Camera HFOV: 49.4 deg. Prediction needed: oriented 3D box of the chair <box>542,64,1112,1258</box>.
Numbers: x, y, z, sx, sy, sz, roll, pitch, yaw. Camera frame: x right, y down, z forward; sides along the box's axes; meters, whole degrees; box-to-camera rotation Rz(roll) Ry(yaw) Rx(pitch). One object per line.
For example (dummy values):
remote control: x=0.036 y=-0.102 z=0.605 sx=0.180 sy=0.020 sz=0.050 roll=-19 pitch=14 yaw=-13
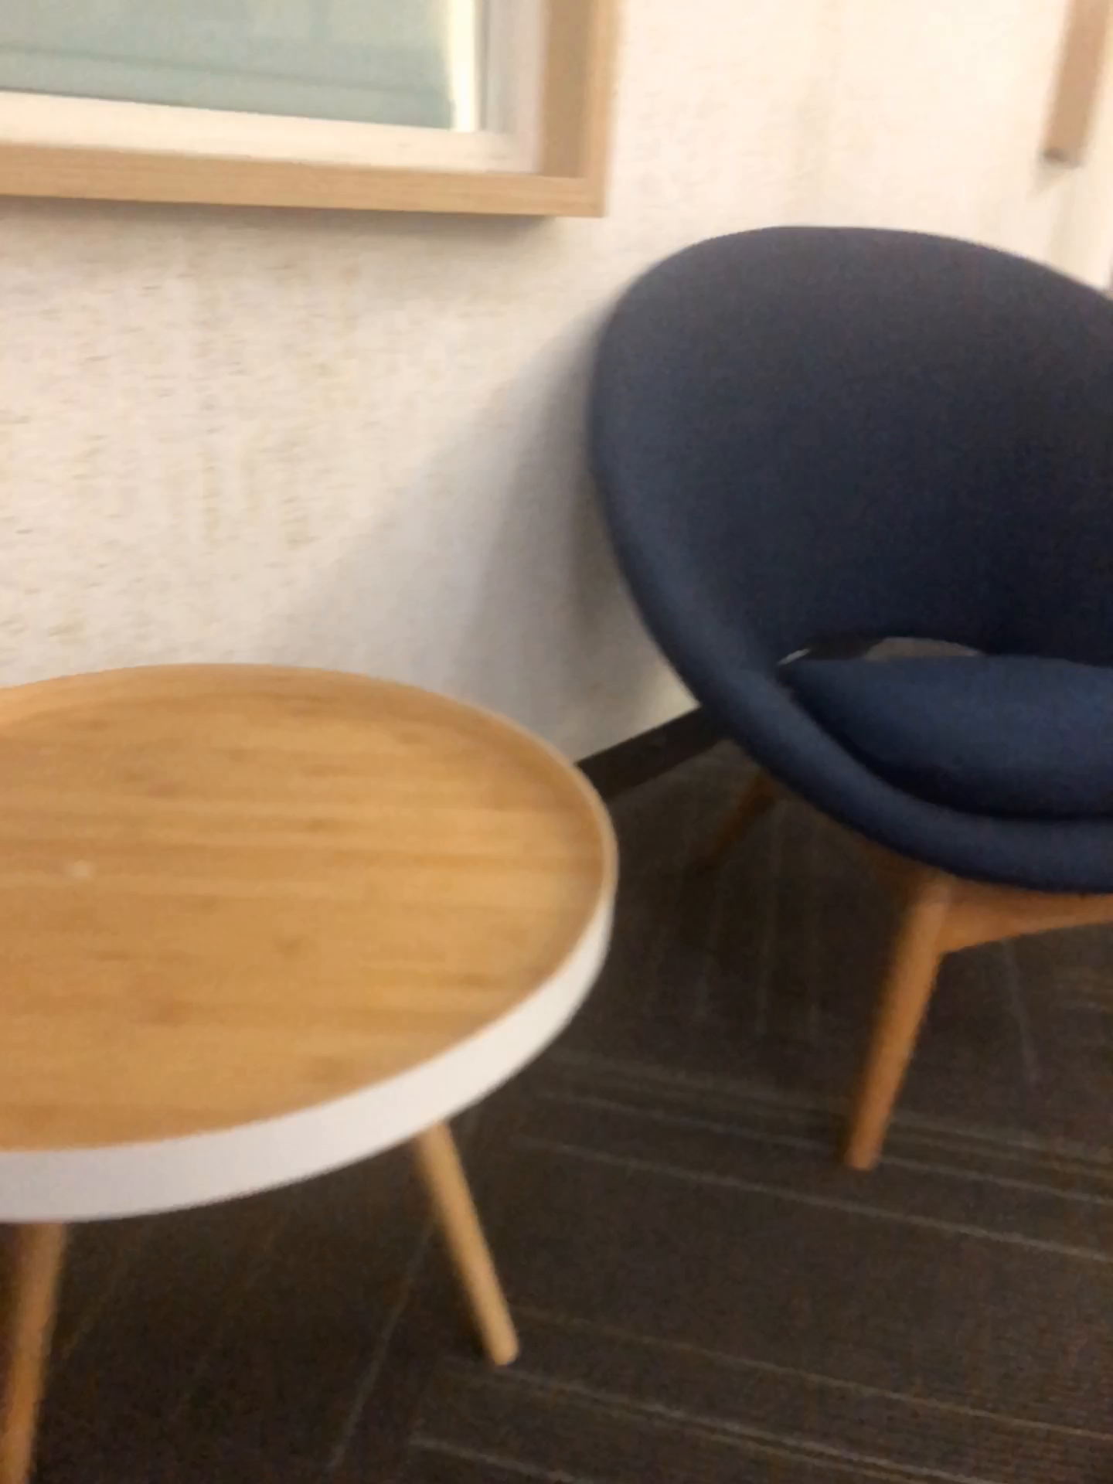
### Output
chair: x=0.513 y=-0.161 z=1.526 sx=0.891 sy=0.994 sz=1.006 roll=-1 pitch=18 yaw=-10
